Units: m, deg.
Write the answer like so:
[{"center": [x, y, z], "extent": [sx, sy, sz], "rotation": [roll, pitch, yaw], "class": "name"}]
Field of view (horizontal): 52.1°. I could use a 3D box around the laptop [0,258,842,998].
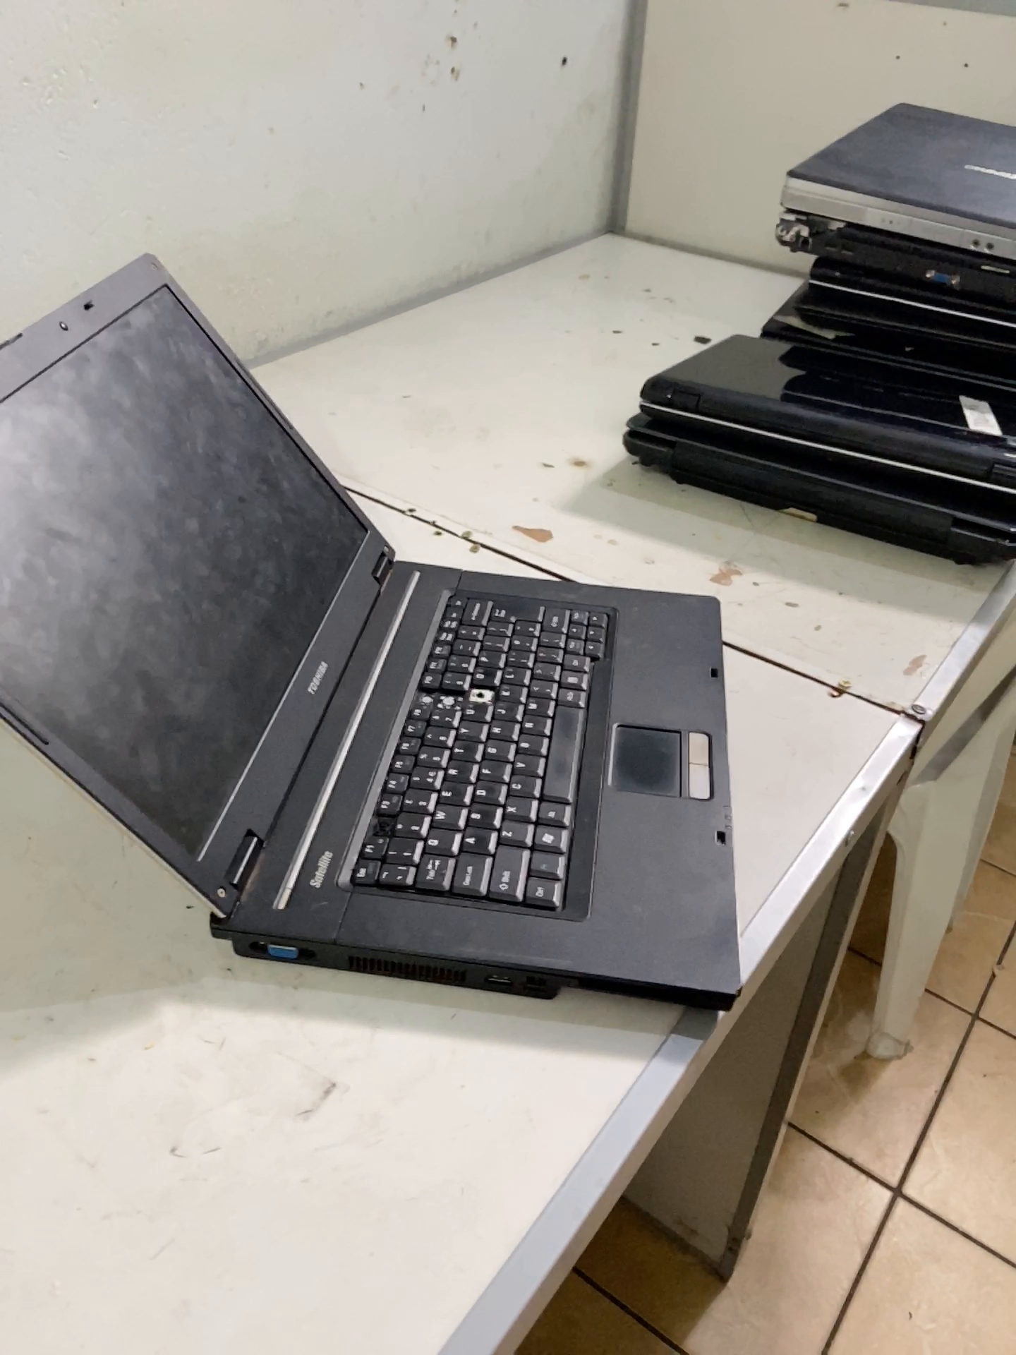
[{"center": [-0.059, -0.063, 0.589], "extent": [0.401, 0.212, 0.358], "rotation": [7, 37, 6], "class": "laptop"}]
